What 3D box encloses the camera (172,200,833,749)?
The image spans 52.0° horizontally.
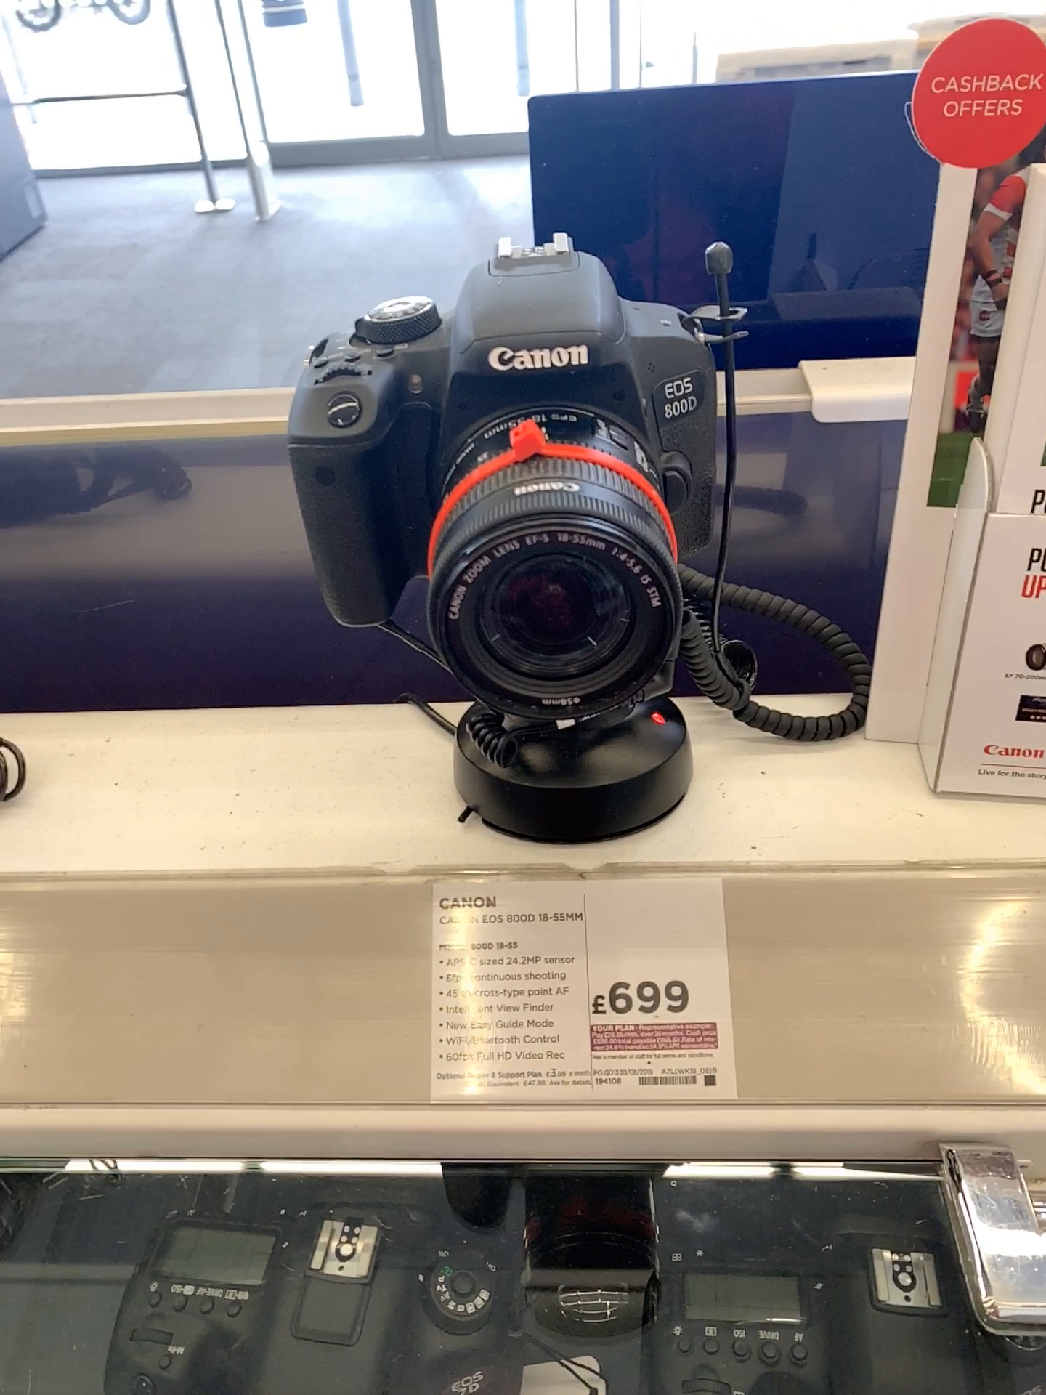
[{"bbox_3d":[-0.006,-0.072,0.309,0.140,0.089,0.141,-5,38,-1],"label":"camera"}]
